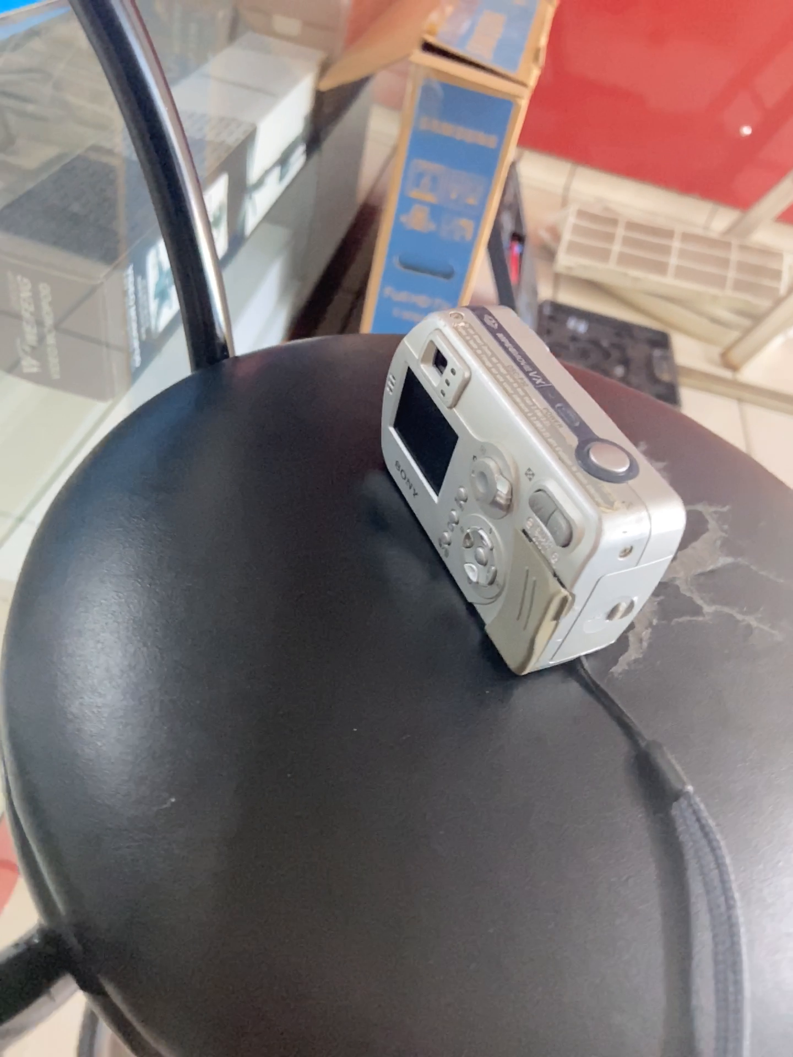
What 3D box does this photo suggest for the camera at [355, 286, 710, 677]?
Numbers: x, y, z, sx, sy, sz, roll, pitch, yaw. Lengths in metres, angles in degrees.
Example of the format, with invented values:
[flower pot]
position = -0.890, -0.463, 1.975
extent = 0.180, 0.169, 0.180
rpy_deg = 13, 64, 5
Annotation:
[camera]
position = 0.030, -0.018, 0.231
extent = 0.040, 0.050, 0.100
rpy_deg = -11, 50, -25
